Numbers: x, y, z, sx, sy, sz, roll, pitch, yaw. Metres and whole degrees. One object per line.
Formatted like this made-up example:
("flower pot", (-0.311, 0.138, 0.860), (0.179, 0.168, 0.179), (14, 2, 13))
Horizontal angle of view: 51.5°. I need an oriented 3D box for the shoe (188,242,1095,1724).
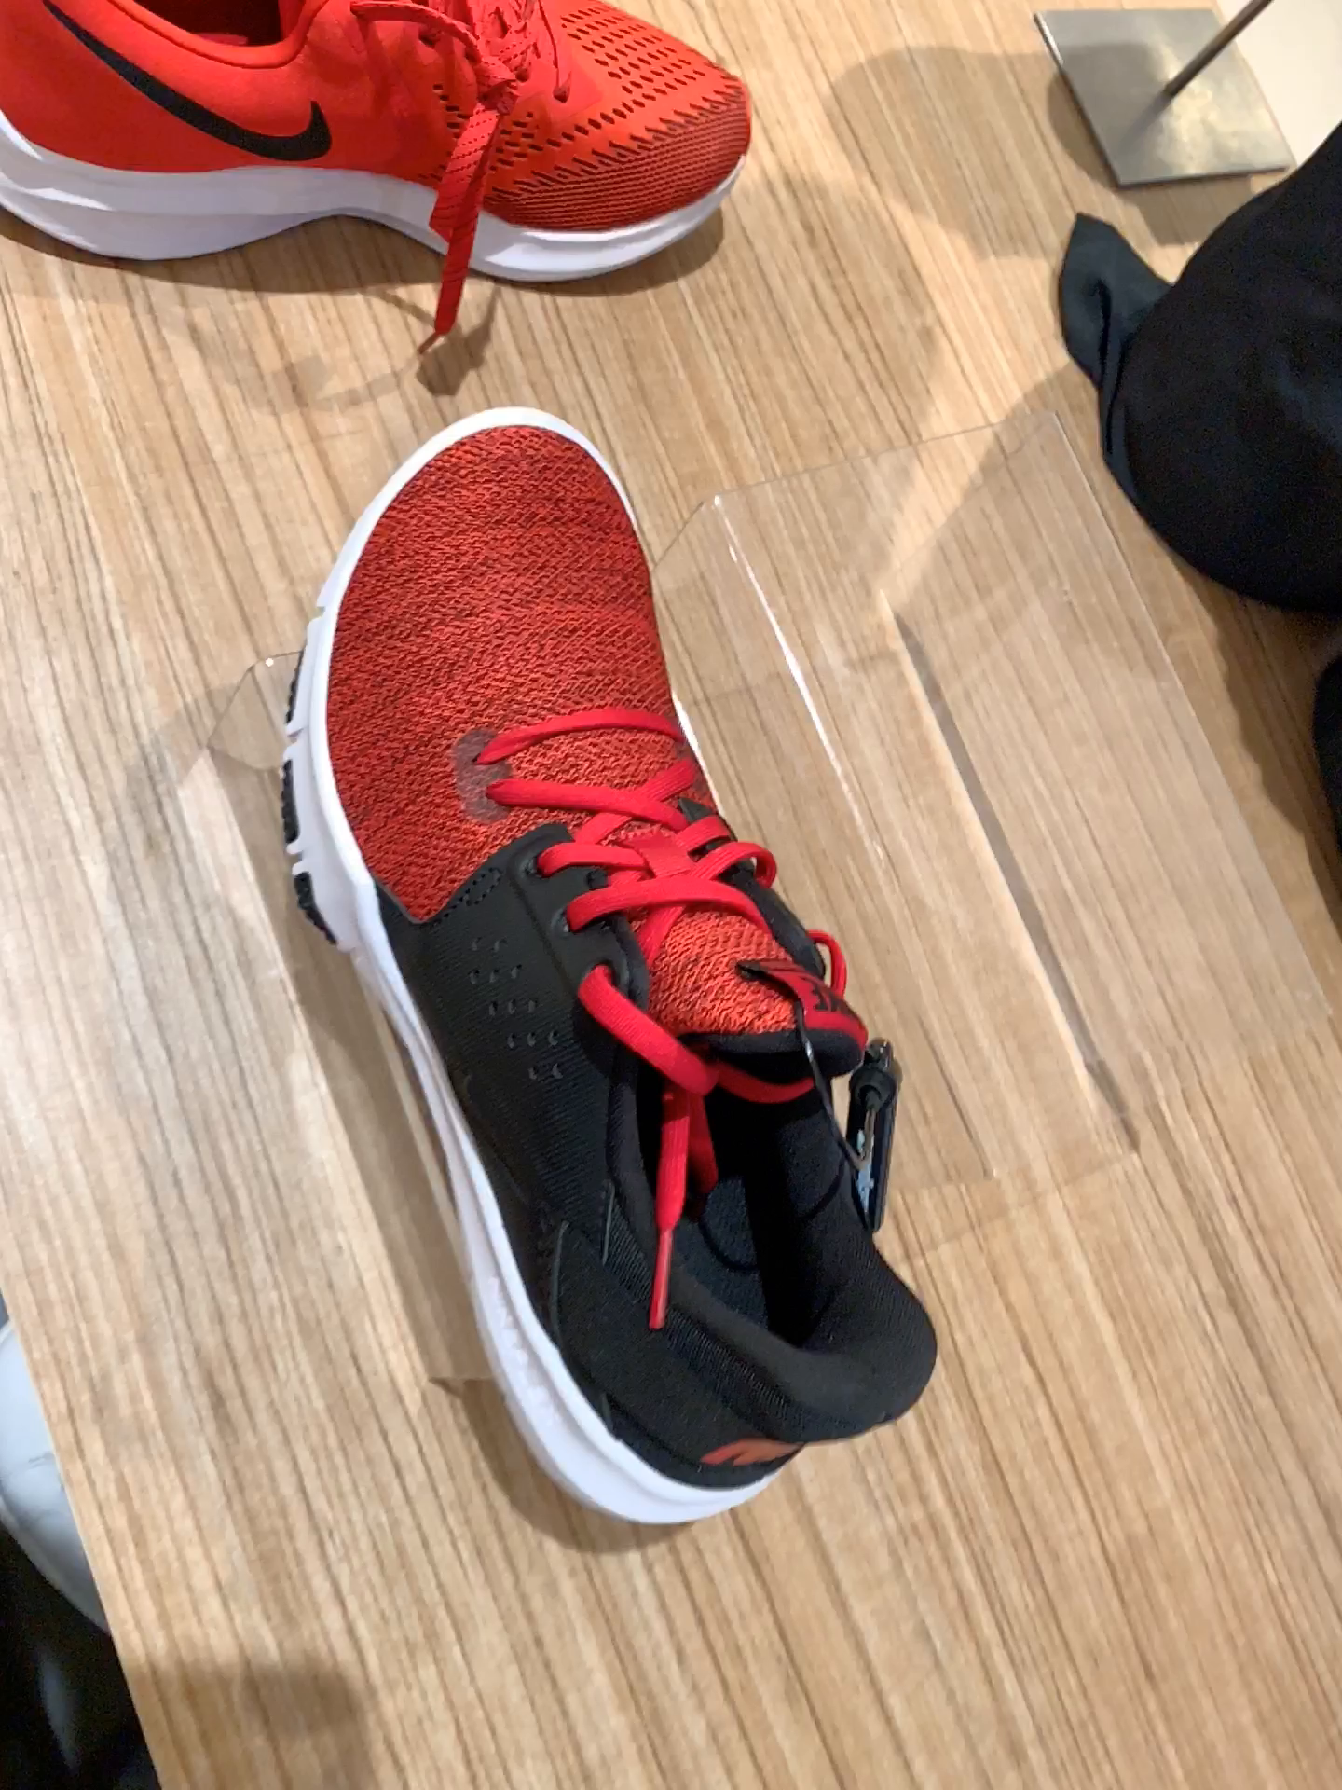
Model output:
("shoe", (-0.017, 0.004, 0.321), (0.110, 0.080, 0.290), (-12, 80, -27))
